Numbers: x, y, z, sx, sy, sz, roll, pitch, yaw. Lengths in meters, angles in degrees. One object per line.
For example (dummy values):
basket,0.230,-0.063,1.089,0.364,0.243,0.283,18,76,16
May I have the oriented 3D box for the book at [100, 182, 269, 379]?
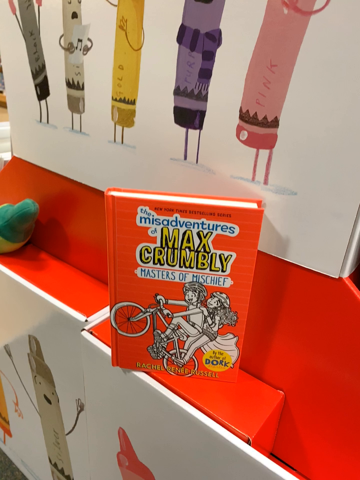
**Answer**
book,-0.003,0.049,0.373,0.142,0.201,0.031,5,28,1
